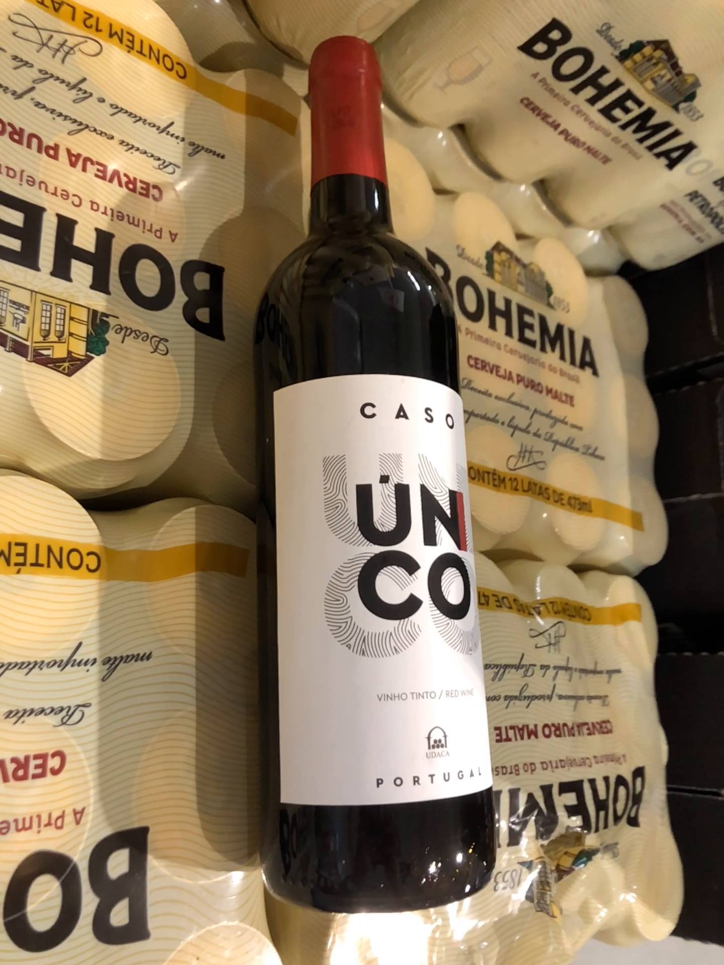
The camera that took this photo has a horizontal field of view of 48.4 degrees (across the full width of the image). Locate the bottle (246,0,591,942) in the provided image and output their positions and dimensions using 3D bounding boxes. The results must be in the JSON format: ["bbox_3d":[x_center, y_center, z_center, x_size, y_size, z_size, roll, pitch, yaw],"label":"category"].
[{"bbox_3d":[0.013,-0.036,0.287,0.080,0.070,0.330,9,73,-41],"label":"bottle"}]
